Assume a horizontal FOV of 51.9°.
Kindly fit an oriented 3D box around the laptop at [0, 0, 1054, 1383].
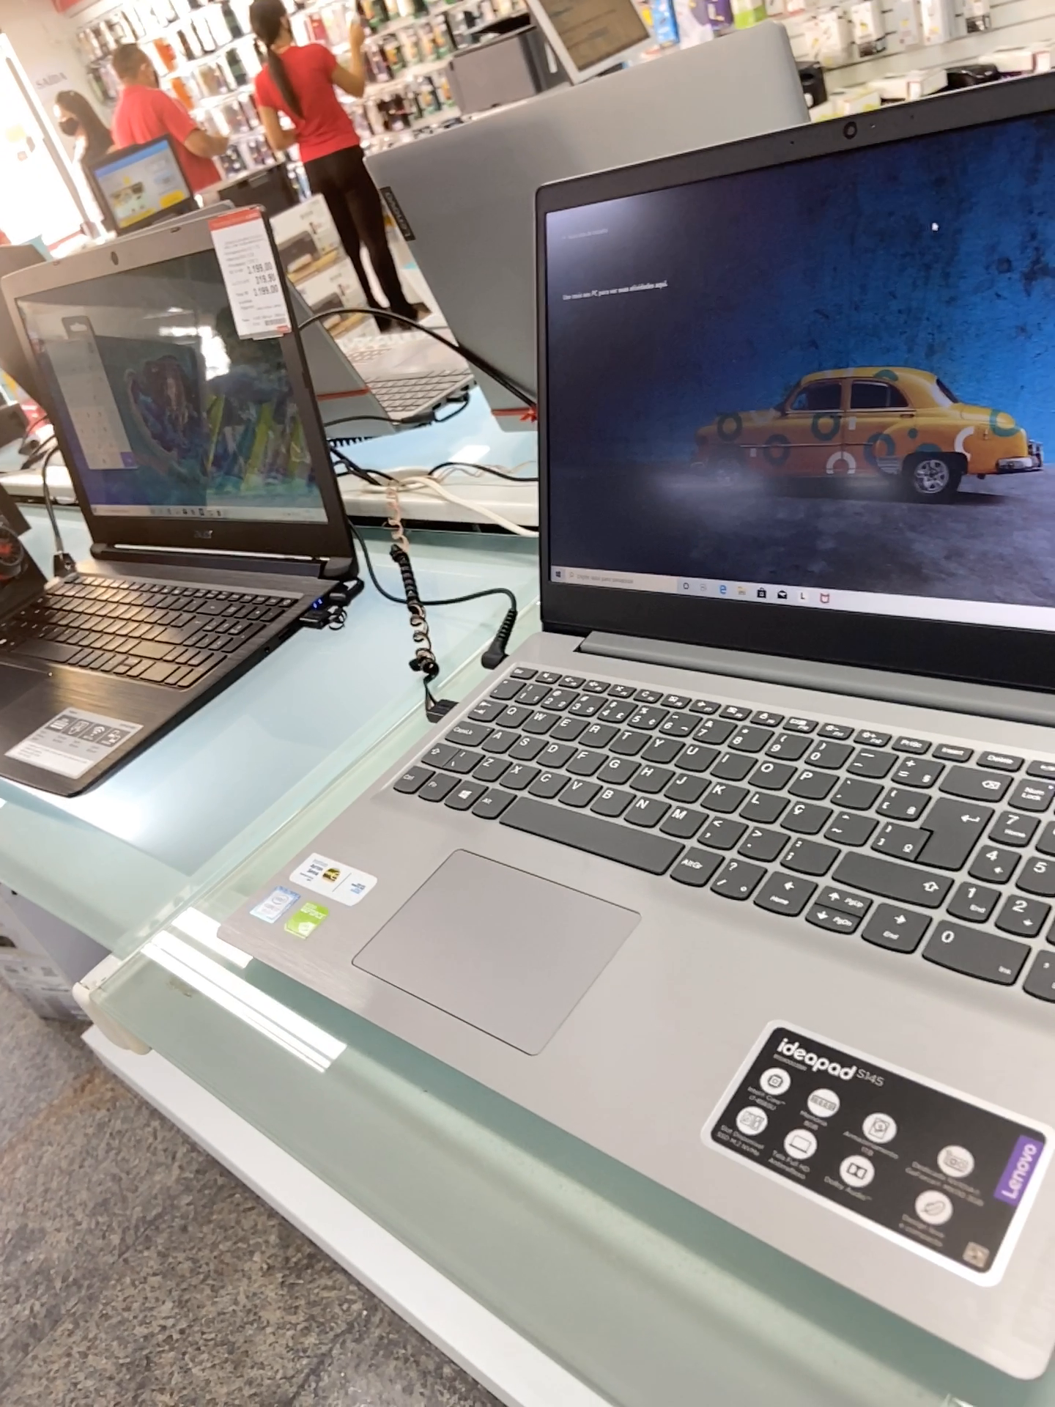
[{"bbox_3d":[0.063,-0.059,0.420,0.365,0.213,0.361,11,44,42],"label":"laptop"}]
